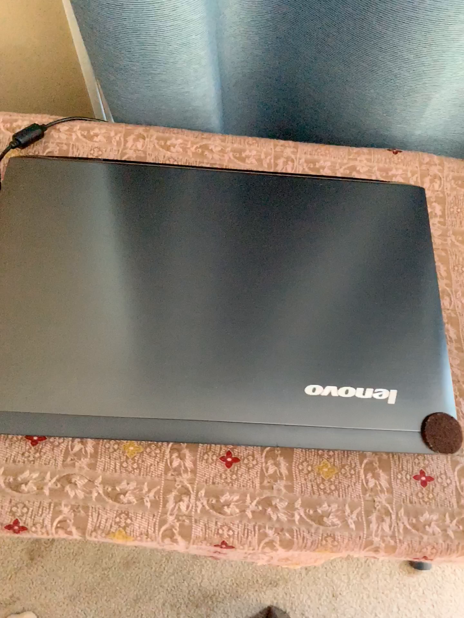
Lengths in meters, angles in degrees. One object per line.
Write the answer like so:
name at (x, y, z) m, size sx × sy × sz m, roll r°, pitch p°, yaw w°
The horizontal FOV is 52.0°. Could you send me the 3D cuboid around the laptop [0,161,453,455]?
laptop at (-0.017, -0.010, 0.374) m, size 0.356 × 0.011 × 0.223 m, roll 3°, pitch 69°, yaw -1°
